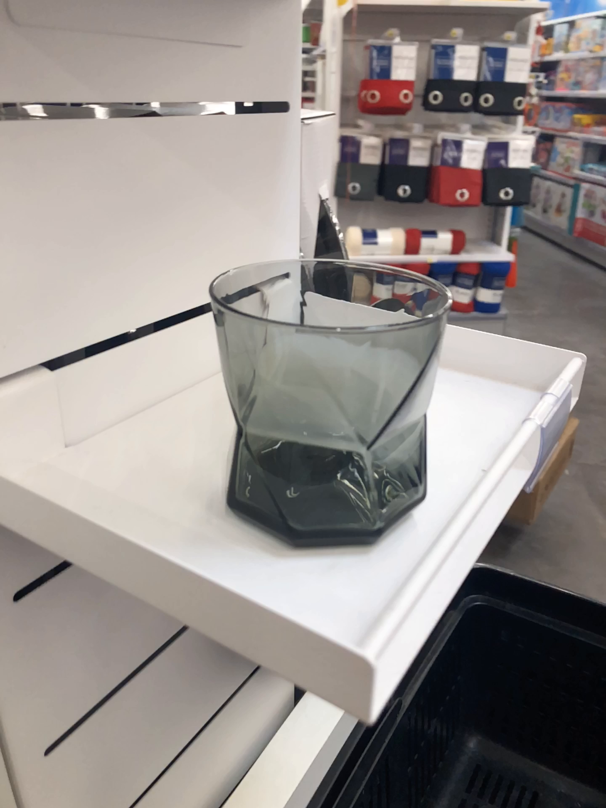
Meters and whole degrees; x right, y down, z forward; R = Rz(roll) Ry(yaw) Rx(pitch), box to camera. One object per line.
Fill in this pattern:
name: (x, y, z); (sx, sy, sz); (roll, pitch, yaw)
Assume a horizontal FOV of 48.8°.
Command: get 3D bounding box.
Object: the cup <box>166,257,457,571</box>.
cup: (0.008, -0.004, 0.258); (0.088, 0.080, 0.094); (2, 24, -1)
